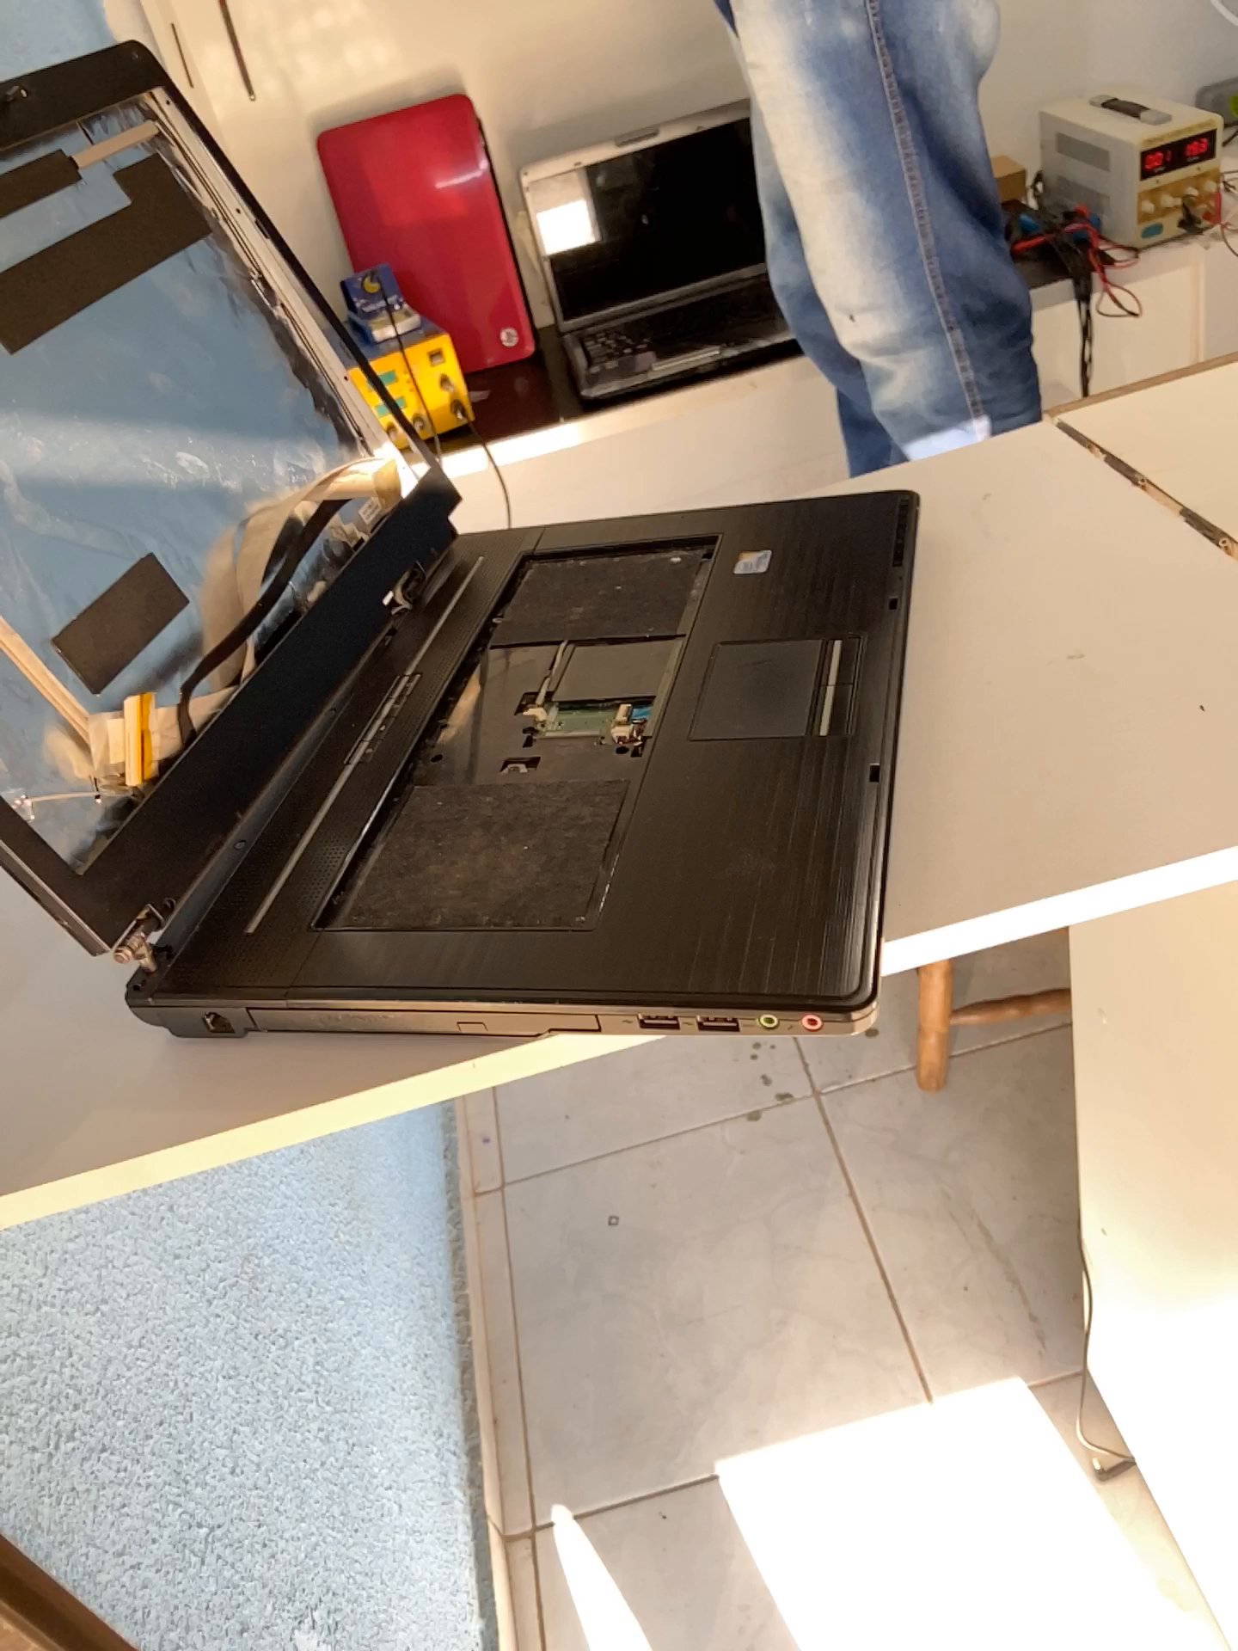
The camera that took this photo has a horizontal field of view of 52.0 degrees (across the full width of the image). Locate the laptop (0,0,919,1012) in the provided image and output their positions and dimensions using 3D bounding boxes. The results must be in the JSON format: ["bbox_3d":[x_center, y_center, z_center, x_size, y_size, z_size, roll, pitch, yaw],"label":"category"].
[{"bbox_3d":[-0.086,-0.158,0.492,0.350,0.261,0.354,-1,39,19],"label":"laptop"}]
